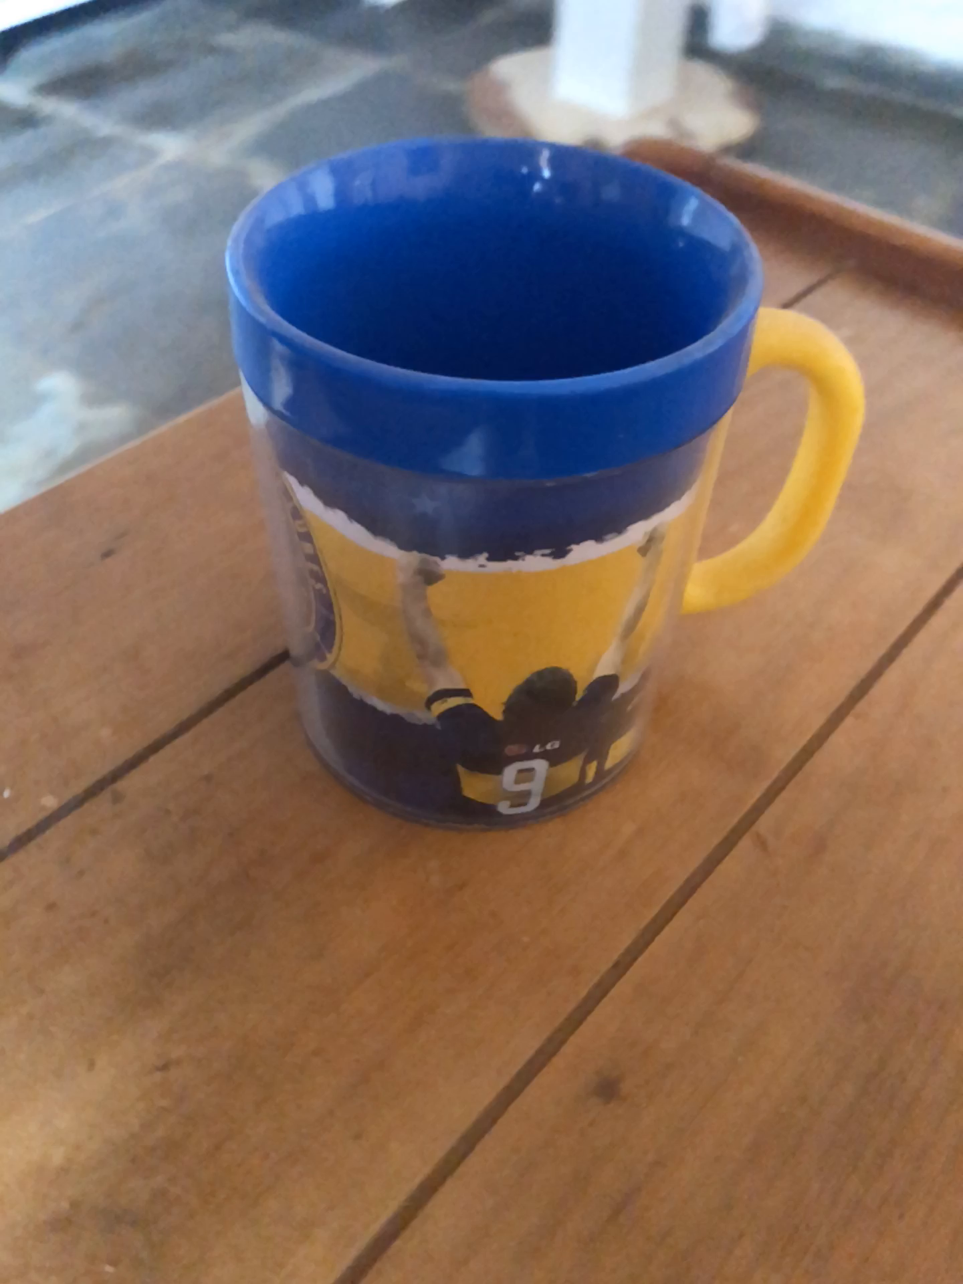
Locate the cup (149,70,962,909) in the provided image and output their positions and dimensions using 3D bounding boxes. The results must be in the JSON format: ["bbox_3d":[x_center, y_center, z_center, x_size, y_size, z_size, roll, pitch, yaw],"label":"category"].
[{"bbox_3d":[0.012,-0.029,0.204,0.120,0.109,0.091,-9,48,-11],"label":"cup"}]
